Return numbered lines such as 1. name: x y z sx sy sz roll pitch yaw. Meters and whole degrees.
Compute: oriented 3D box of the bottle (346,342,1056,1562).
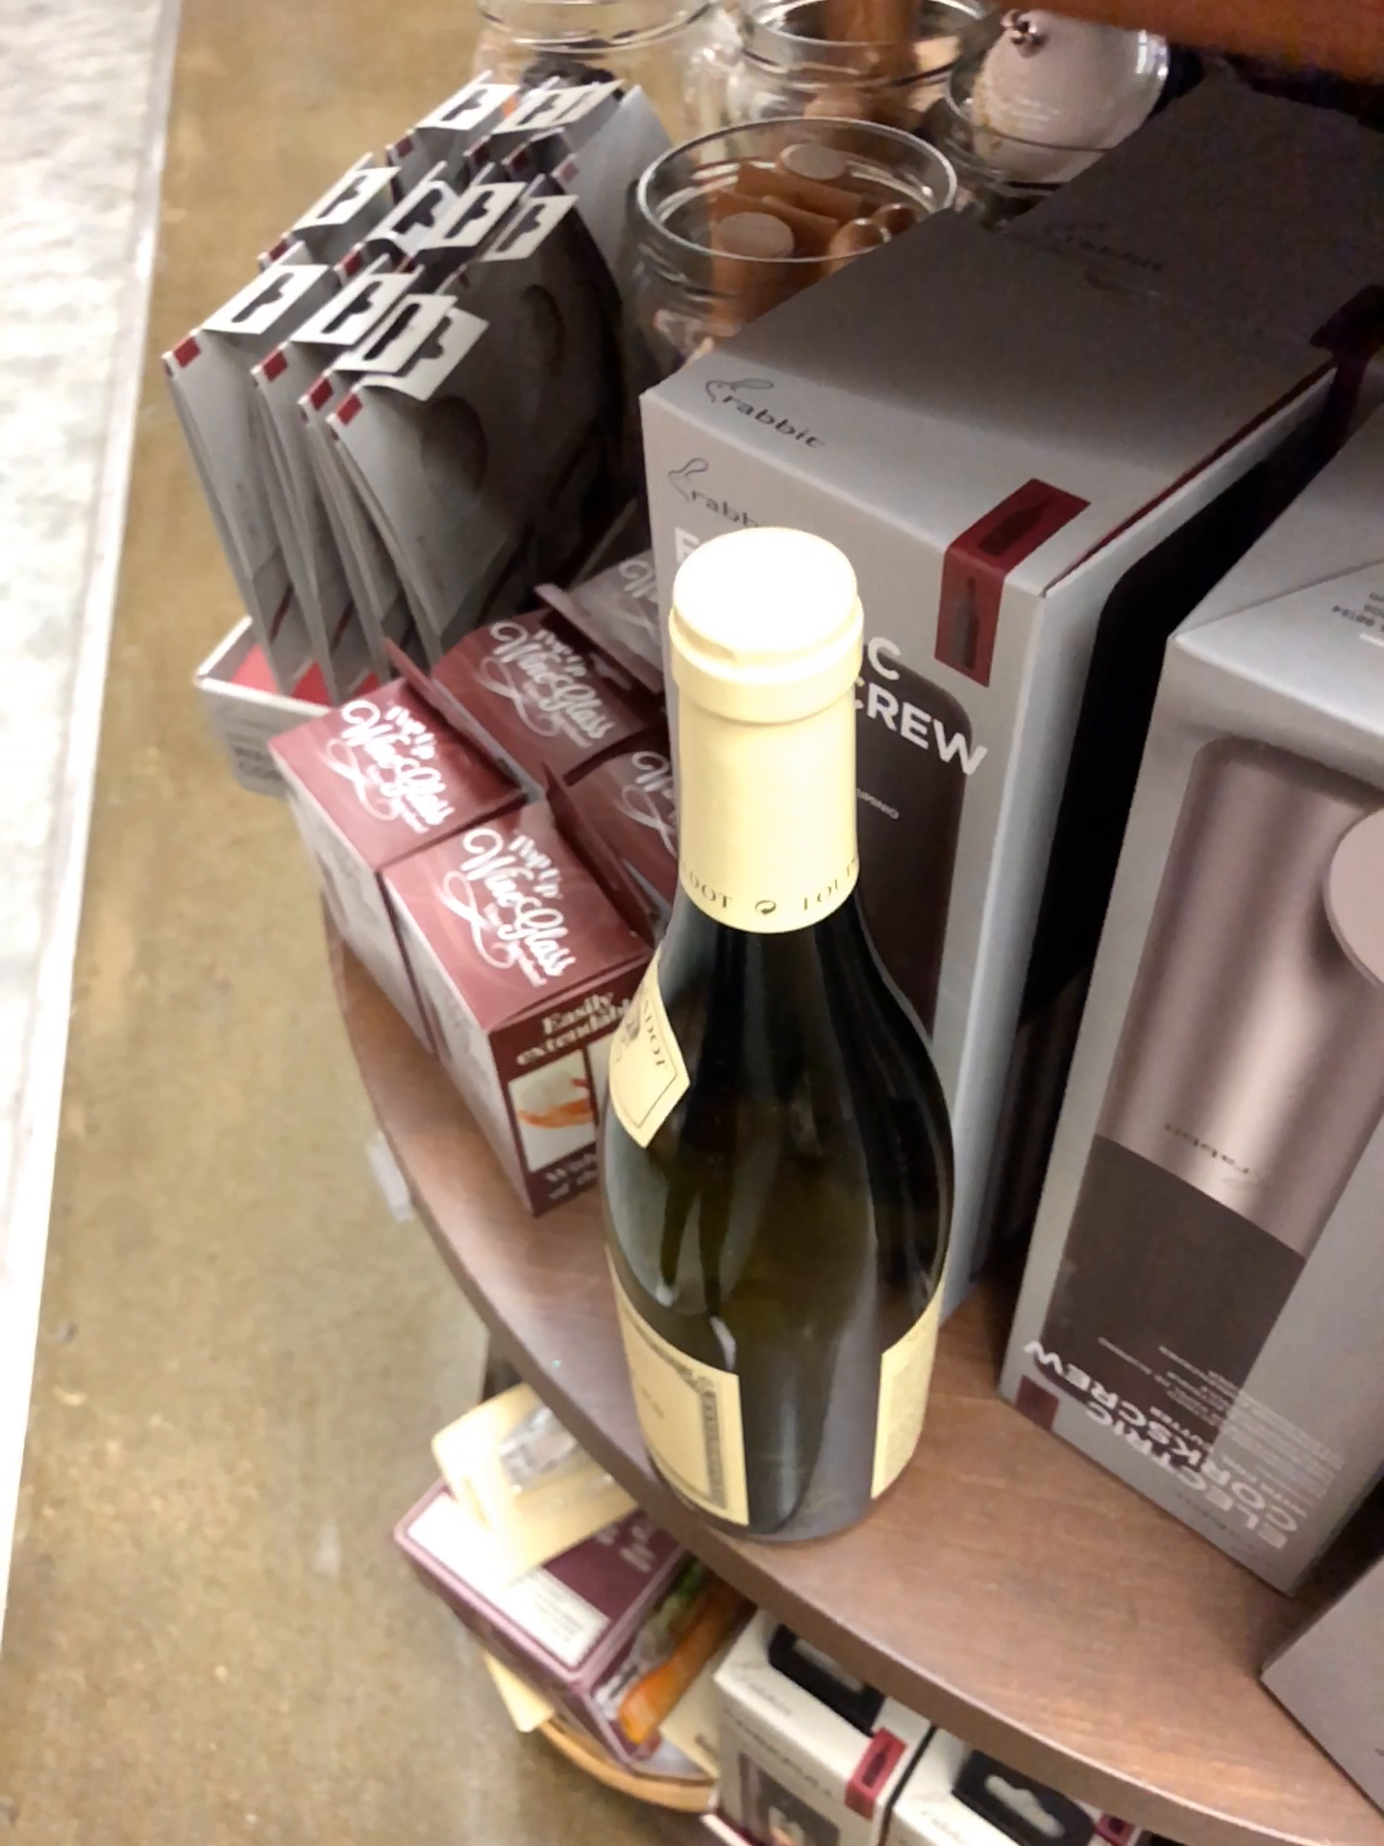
1. bottle: 0.014 0.039 0.336 0.090 0.299 0.090 -3 48 3
